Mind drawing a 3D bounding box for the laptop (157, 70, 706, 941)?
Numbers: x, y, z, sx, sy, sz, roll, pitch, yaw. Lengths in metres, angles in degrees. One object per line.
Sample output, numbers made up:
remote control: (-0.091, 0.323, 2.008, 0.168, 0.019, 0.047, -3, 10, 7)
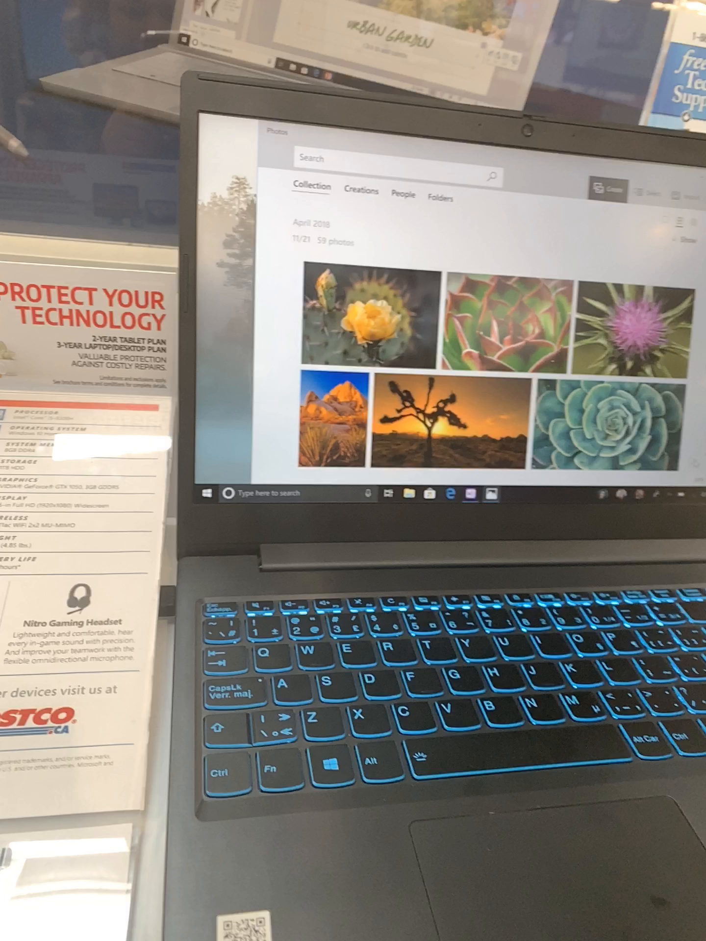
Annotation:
laptop: (0.104, -0.011, 0.296, 0.340, 0.214, 0.330, 1, 29, -14)
